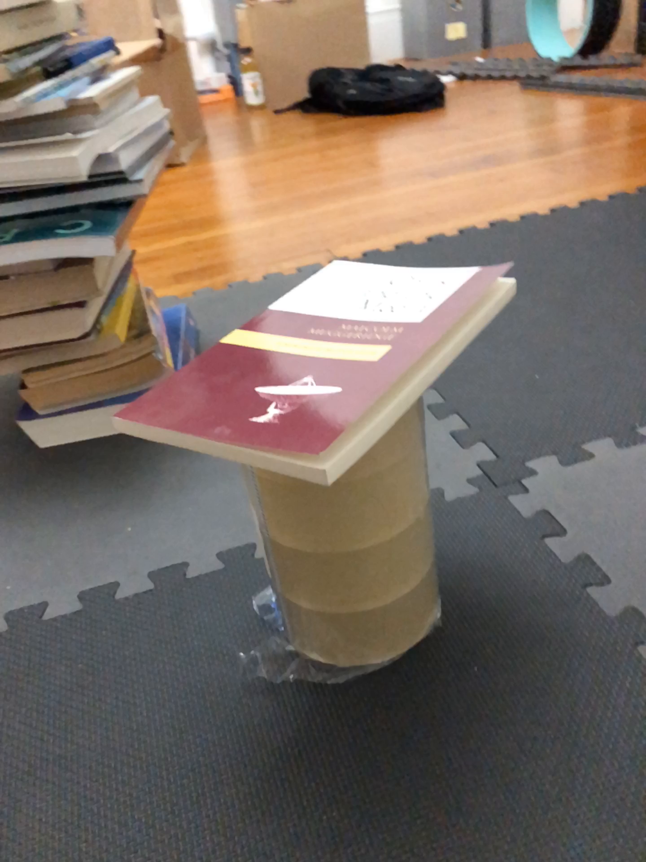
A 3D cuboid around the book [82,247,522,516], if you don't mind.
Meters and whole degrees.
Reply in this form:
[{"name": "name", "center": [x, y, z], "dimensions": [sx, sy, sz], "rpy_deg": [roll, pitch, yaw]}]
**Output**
[{"name": "book", "center": [0.001, -0.045, 0.377], "dimensions": [0.140, 0.020, 0.211], "rpy_deg": [12, 40, 31]}]
